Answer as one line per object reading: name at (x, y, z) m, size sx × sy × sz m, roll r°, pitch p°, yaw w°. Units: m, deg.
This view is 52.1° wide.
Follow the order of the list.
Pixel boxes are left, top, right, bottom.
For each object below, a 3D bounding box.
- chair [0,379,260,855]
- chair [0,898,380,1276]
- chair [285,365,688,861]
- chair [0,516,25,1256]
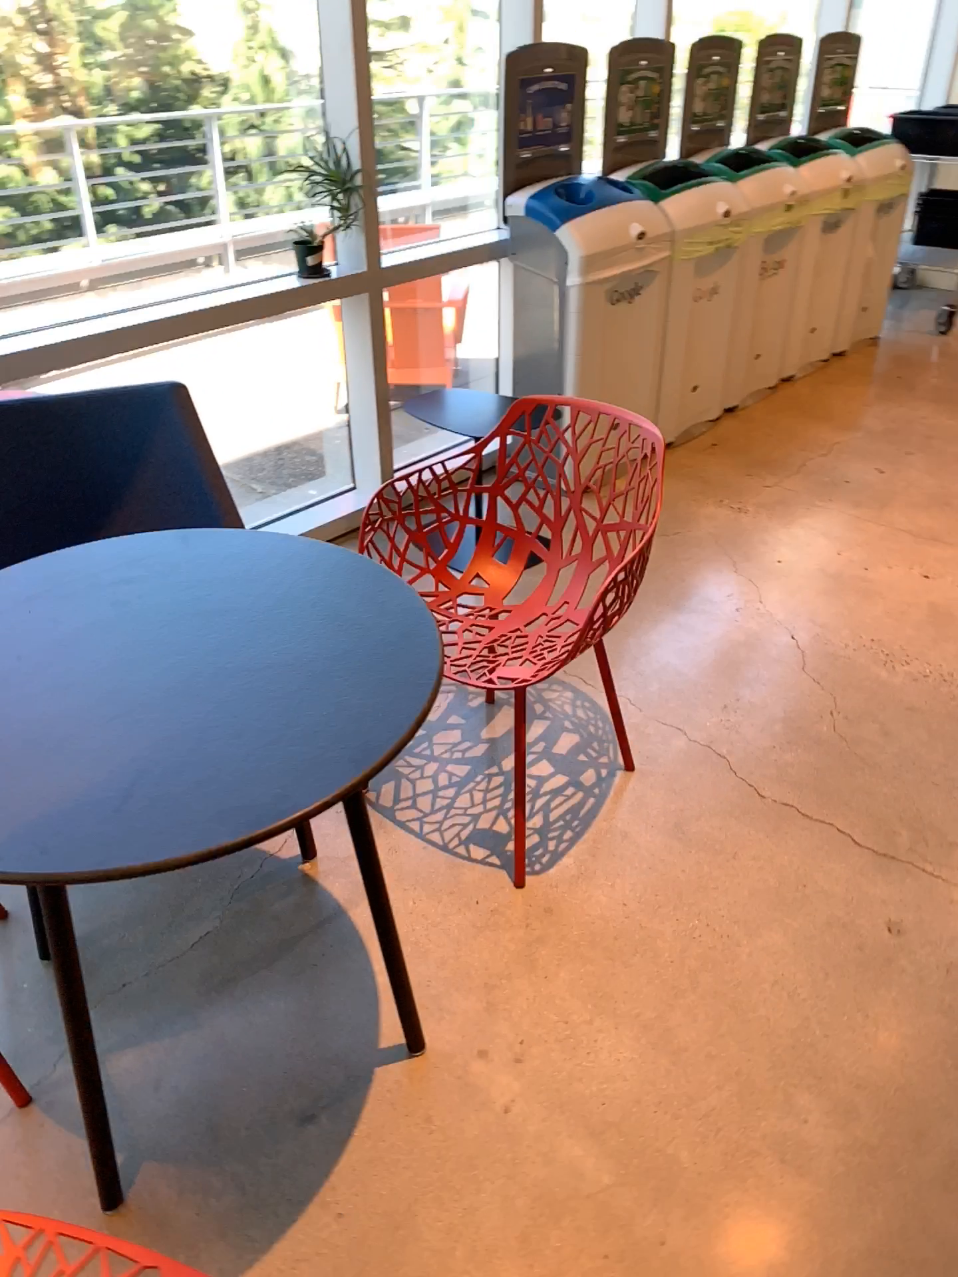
chair at (-0.830, -0.064, 2.070) m, size 0.560 × 0.765 × 0.513 m, roll -11°, pitch 34°, yaw -16°
chair at (-0.465, 0.741, 0.805) m, size 0.561 × 0.765 × 0.533 m, roll 9°, pitch 33°, yaw 15°
chair at (0.023, -0.087, 2.101) m, size 0.552 × 0.765 × 0.562 m, roll 24°, pitch 39°, yaw 33°
chair at (-1.049, 0.325, 1.431) m, size 0.530 × 0.765 × 0.563 m, roll -11°, pitch 34°, yaw -17°
